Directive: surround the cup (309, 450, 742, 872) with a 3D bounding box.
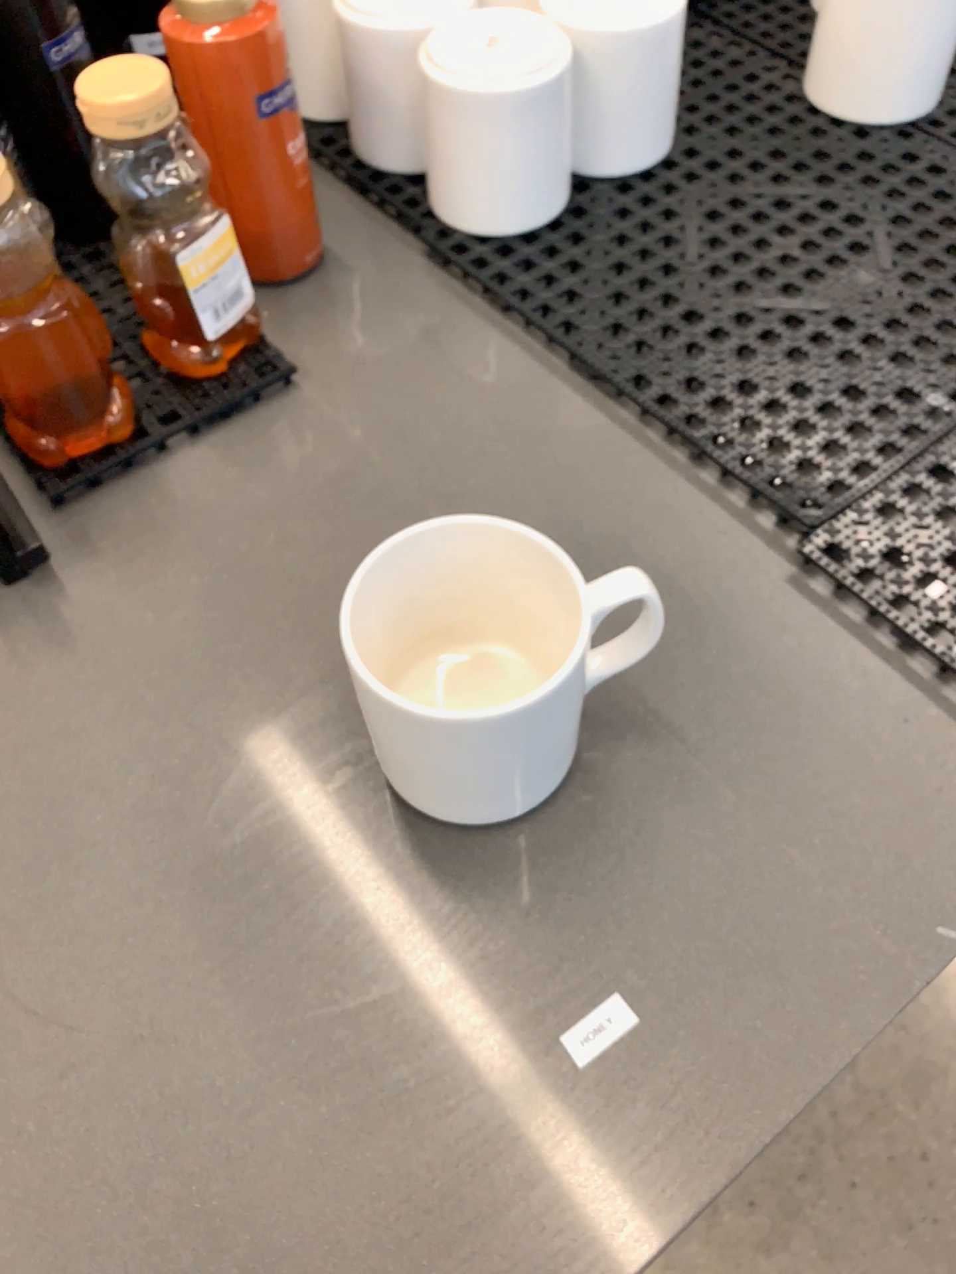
[{"bbox_3d":[0.015,0.010,0.370,0.120,0.090,0.090,-18,56,-9],"label":"cup"}]
